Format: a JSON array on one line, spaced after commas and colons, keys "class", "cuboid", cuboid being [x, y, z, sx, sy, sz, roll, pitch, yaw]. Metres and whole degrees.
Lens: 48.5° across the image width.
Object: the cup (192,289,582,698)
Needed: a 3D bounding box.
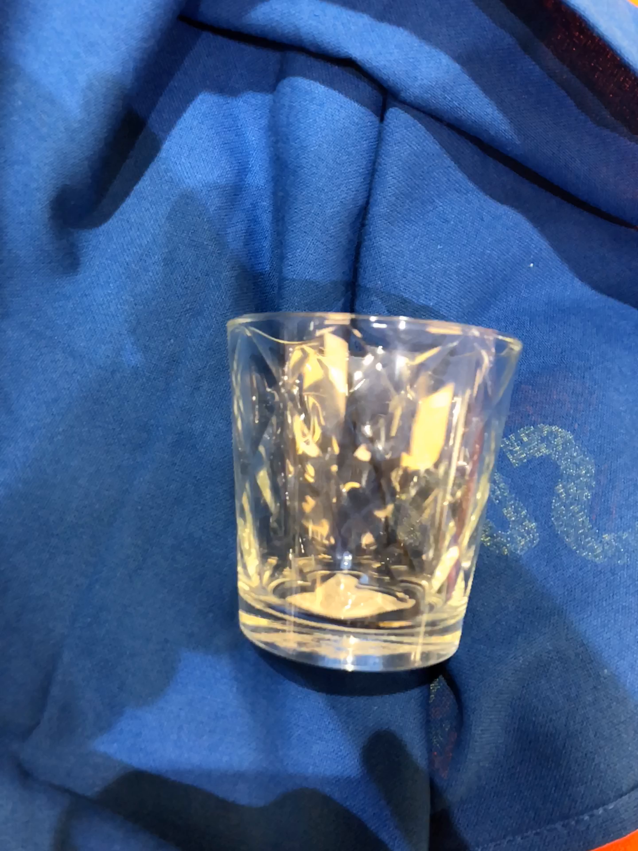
[{"class": "cup", "cuboid": [0.012, 0.015, 0.199, 0.080, 0.070, 0.090, 4, 95, -17]}]
